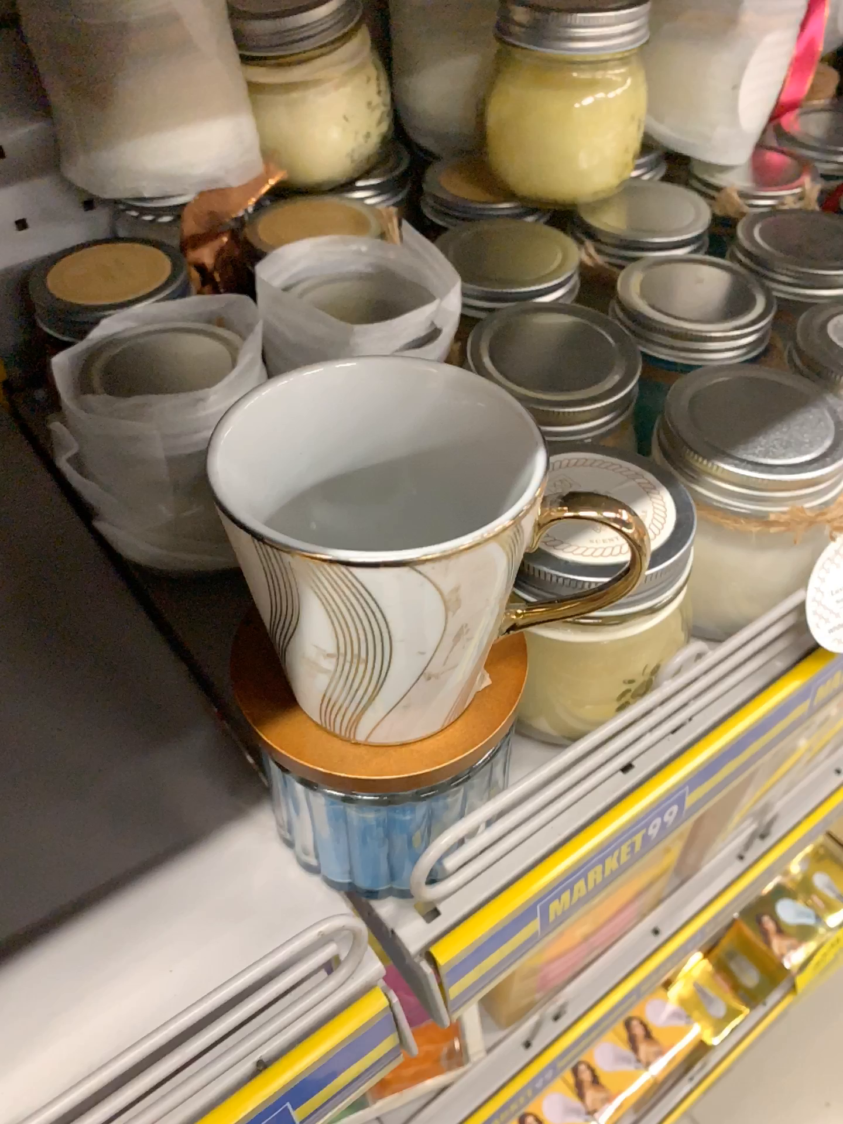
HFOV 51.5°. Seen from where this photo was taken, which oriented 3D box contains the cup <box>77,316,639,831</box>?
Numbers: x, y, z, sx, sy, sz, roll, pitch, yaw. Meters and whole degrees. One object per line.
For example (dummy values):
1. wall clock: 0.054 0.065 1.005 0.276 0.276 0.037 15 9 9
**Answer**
1. cup: -0.006 0.001 0.187 0.090 0.070 0.070 8 47 7
